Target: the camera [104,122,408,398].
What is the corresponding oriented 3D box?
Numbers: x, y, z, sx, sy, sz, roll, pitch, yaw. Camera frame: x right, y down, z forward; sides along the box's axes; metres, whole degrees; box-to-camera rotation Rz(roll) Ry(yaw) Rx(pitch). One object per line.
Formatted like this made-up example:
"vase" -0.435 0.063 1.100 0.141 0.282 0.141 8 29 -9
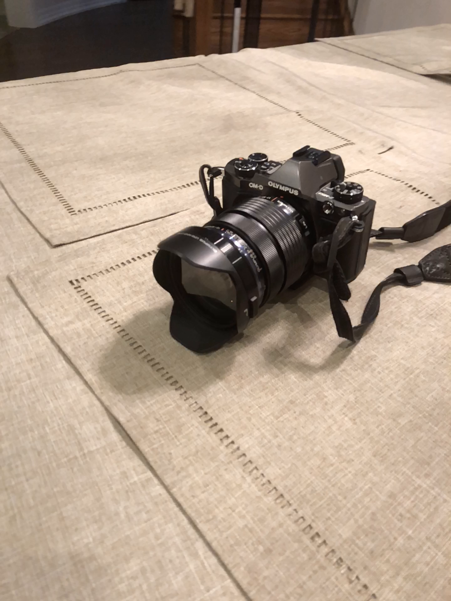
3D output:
"camera" 0.024 -0.043 0.347 0.124 0.092 0.165 28 44 25
